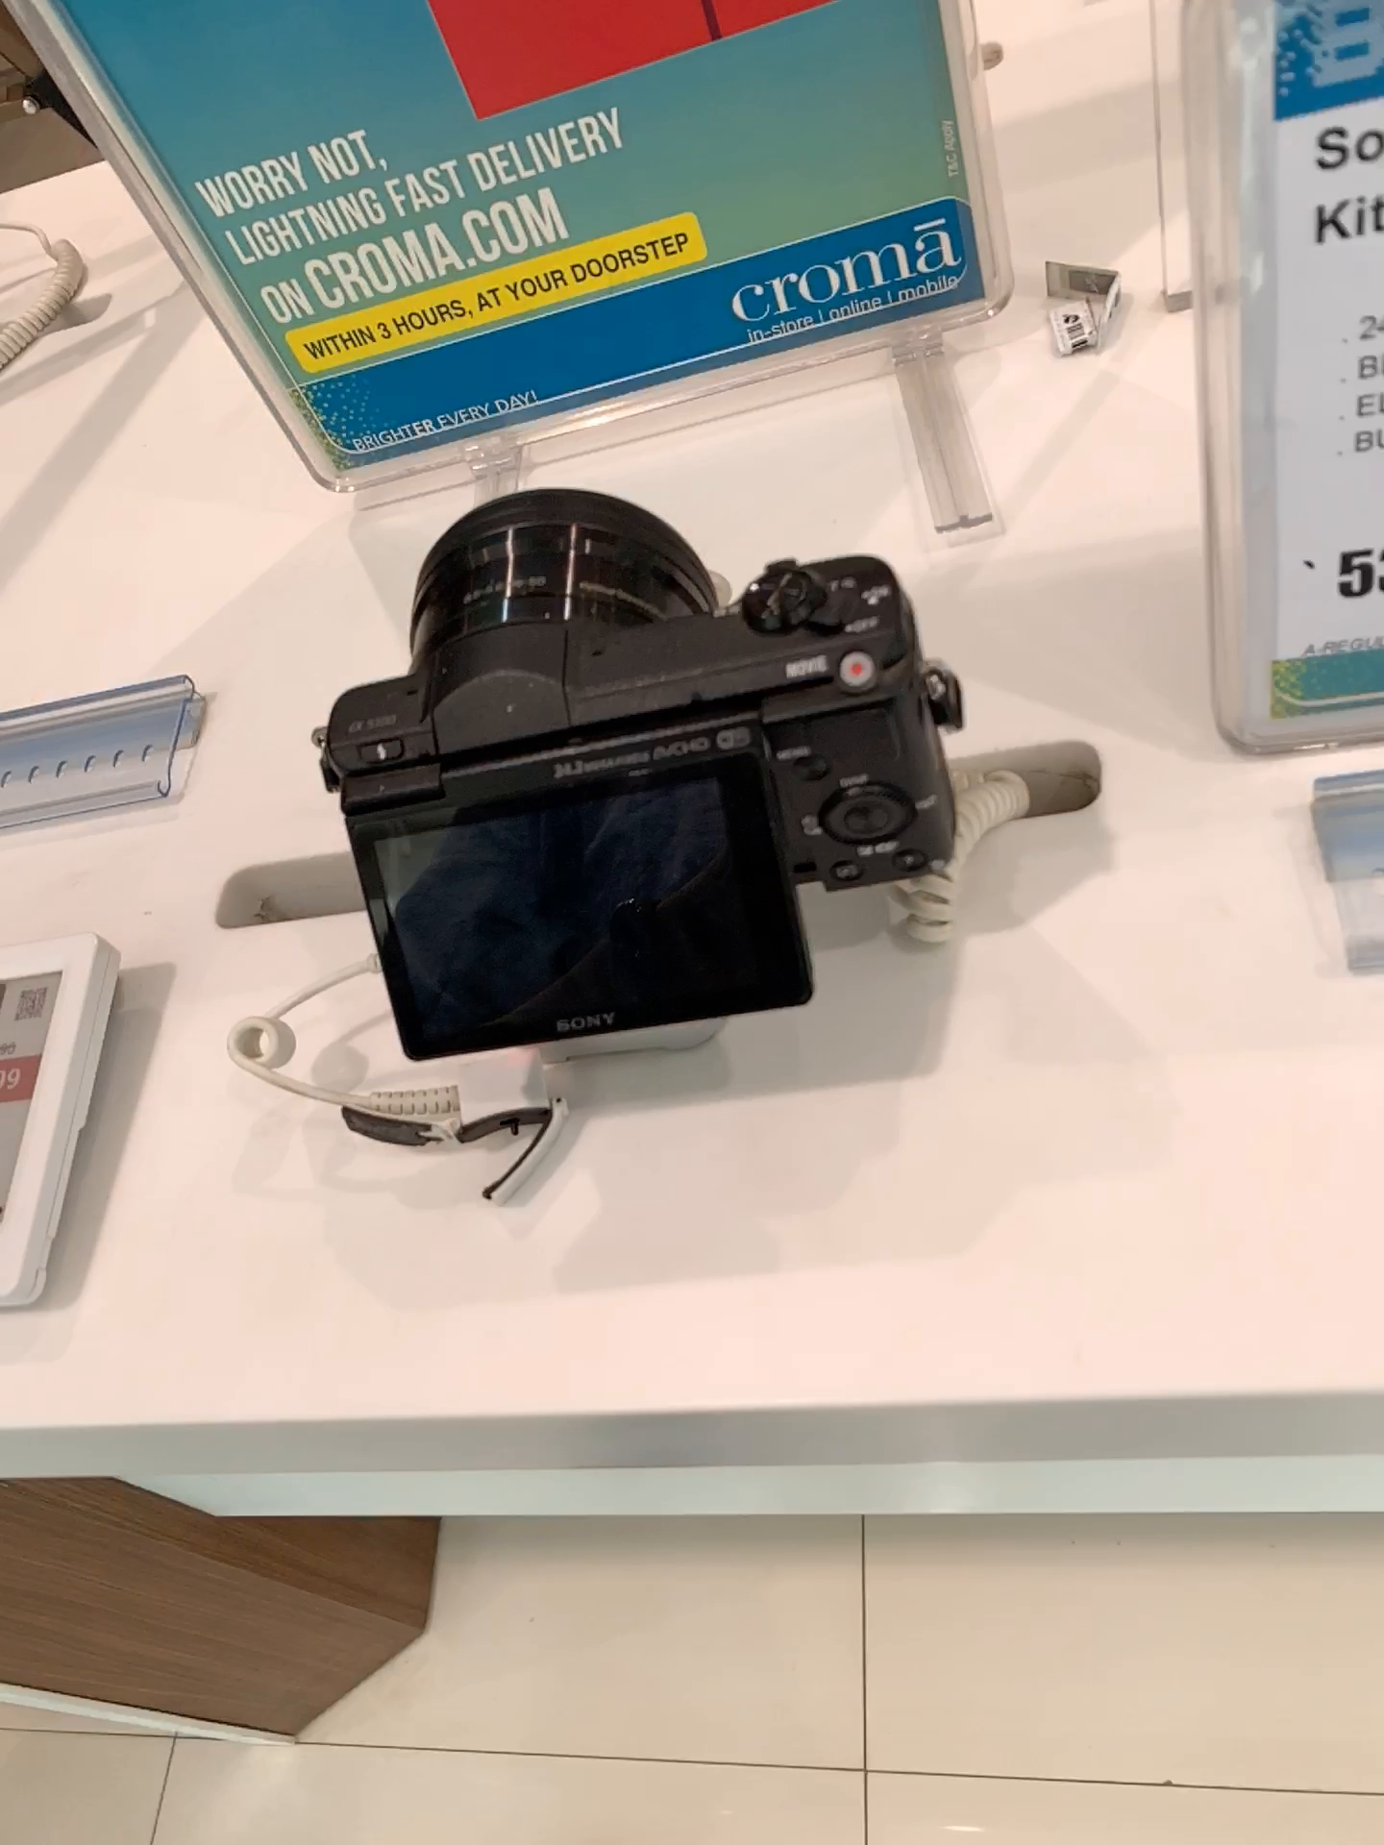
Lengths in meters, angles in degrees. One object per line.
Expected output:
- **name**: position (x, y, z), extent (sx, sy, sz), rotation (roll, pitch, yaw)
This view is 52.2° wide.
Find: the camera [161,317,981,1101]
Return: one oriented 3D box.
- **camera**: position (-0.014, -0.033, 0.254), extent (0.110, 0.082, 0.088), rotation (-9, 54, 15)
